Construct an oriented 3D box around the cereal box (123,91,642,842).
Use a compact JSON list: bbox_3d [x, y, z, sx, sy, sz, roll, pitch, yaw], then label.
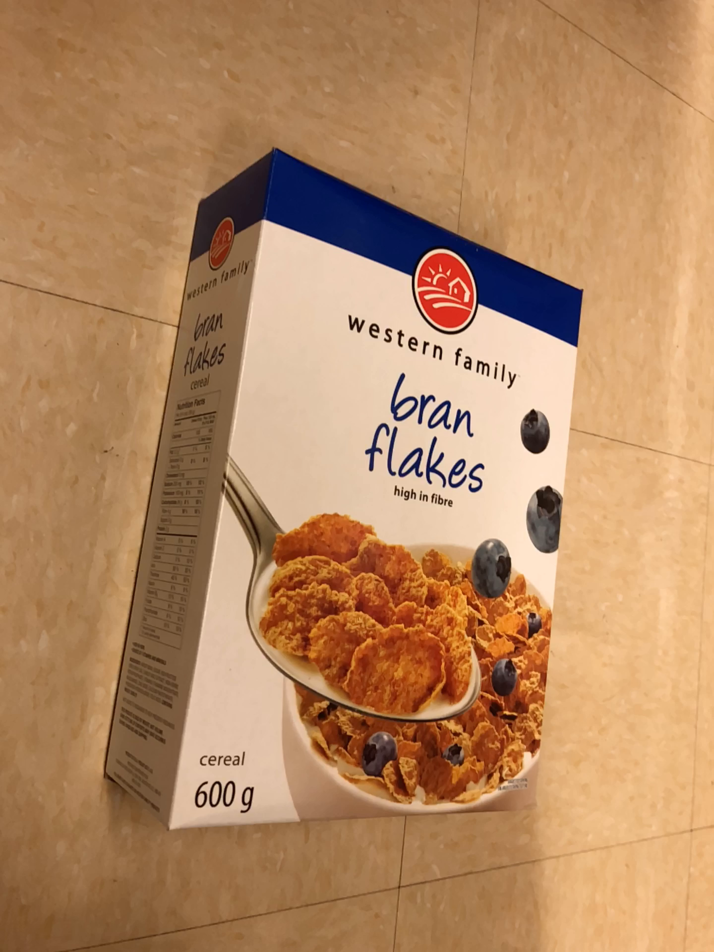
[{"bbox_3d":[0.027,0.008,0.406,0.221,0.090,0.300,12,82,-34],"label":"cereal box"}]
